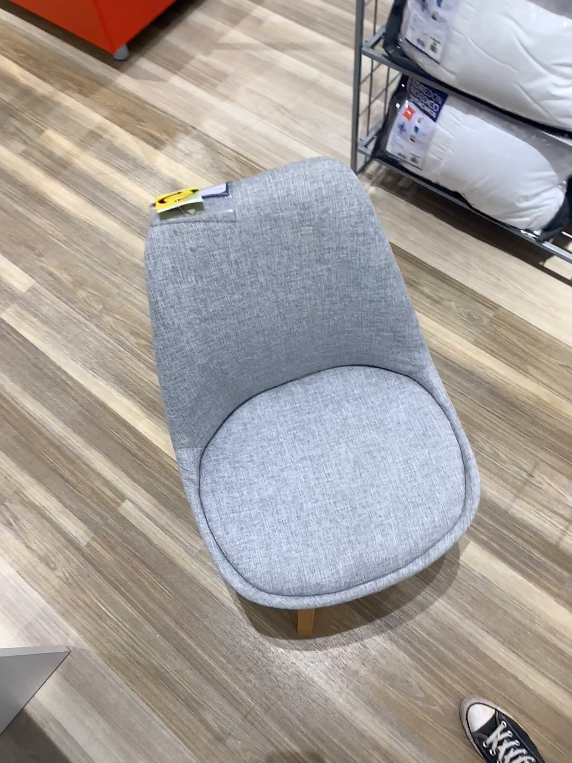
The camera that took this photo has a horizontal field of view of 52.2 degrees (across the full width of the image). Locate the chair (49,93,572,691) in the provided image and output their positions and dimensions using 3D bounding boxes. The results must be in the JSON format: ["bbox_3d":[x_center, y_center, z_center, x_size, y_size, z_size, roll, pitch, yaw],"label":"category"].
[{"bbox_3d":[0.080,0.120,0.994,0.513,0.858,0.516,-20,66,-4],"label":"chair"}]
